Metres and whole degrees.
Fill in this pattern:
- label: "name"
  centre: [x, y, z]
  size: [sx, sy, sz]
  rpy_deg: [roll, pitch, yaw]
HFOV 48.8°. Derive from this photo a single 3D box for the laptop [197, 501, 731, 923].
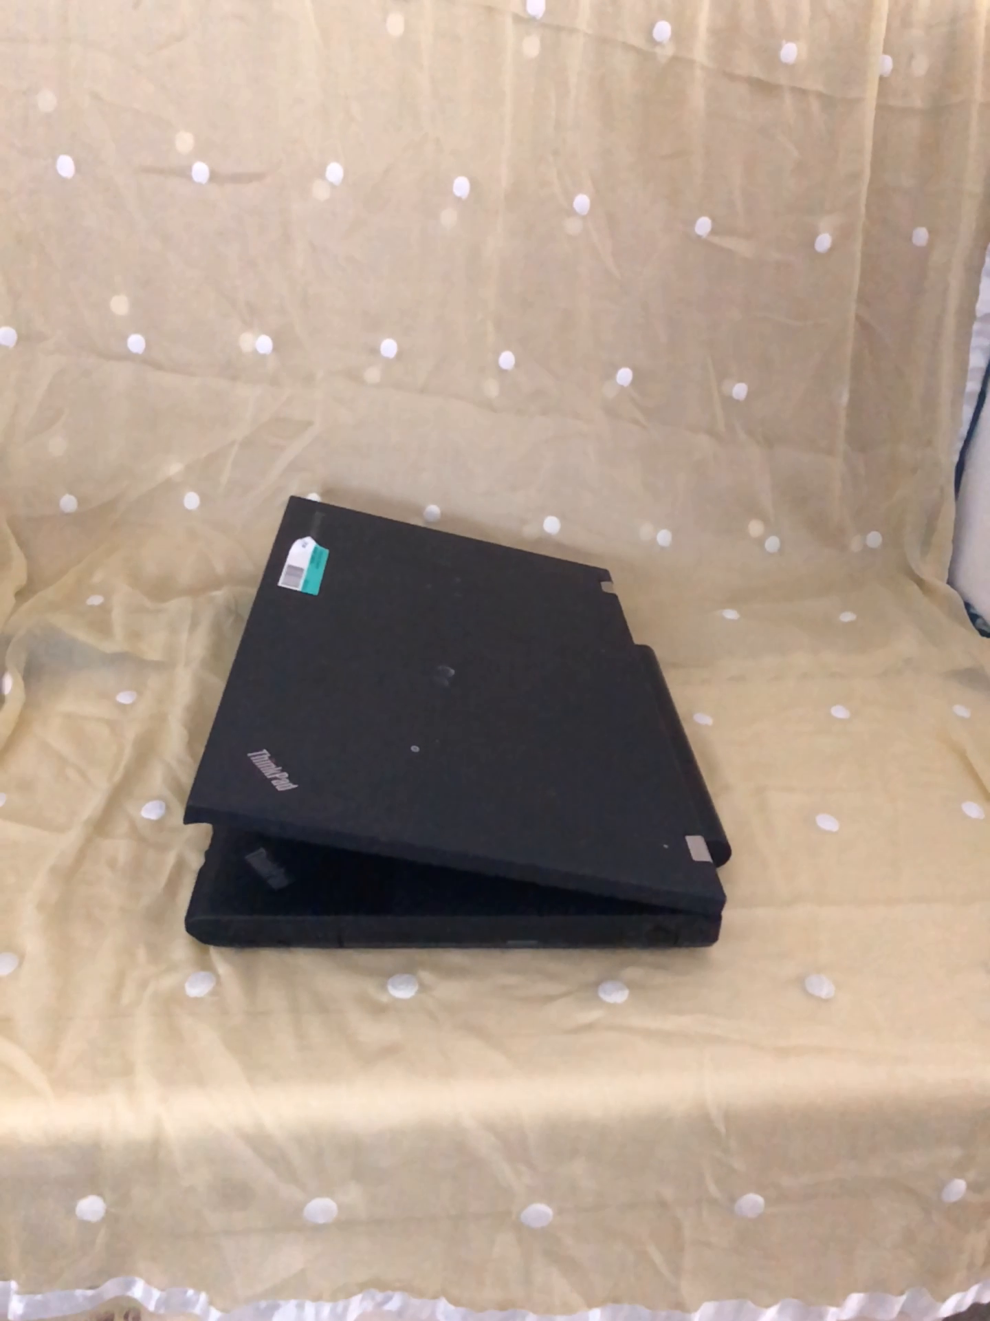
- label: "laptop"
  centre: [-0.022, 0.001, 0.625]
  size: [0.225, 0.050, 0.358]
  rpy_deg: [1, 29, -2]
